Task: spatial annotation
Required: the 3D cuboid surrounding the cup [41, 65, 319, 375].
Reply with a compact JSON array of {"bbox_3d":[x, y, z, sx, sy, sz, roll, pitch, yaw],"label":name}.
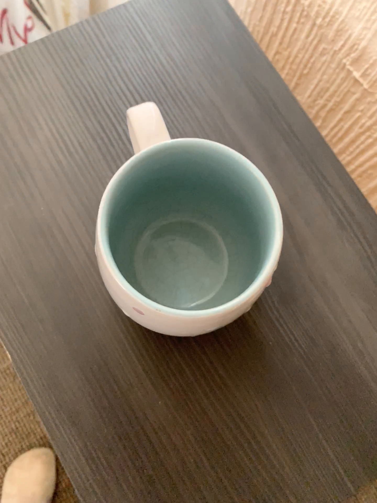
[{"bbox_3d":[-0.010,-0.012,0.231,0.100,0.100,0.130,-14,79,-7],"label":"cup"}]
